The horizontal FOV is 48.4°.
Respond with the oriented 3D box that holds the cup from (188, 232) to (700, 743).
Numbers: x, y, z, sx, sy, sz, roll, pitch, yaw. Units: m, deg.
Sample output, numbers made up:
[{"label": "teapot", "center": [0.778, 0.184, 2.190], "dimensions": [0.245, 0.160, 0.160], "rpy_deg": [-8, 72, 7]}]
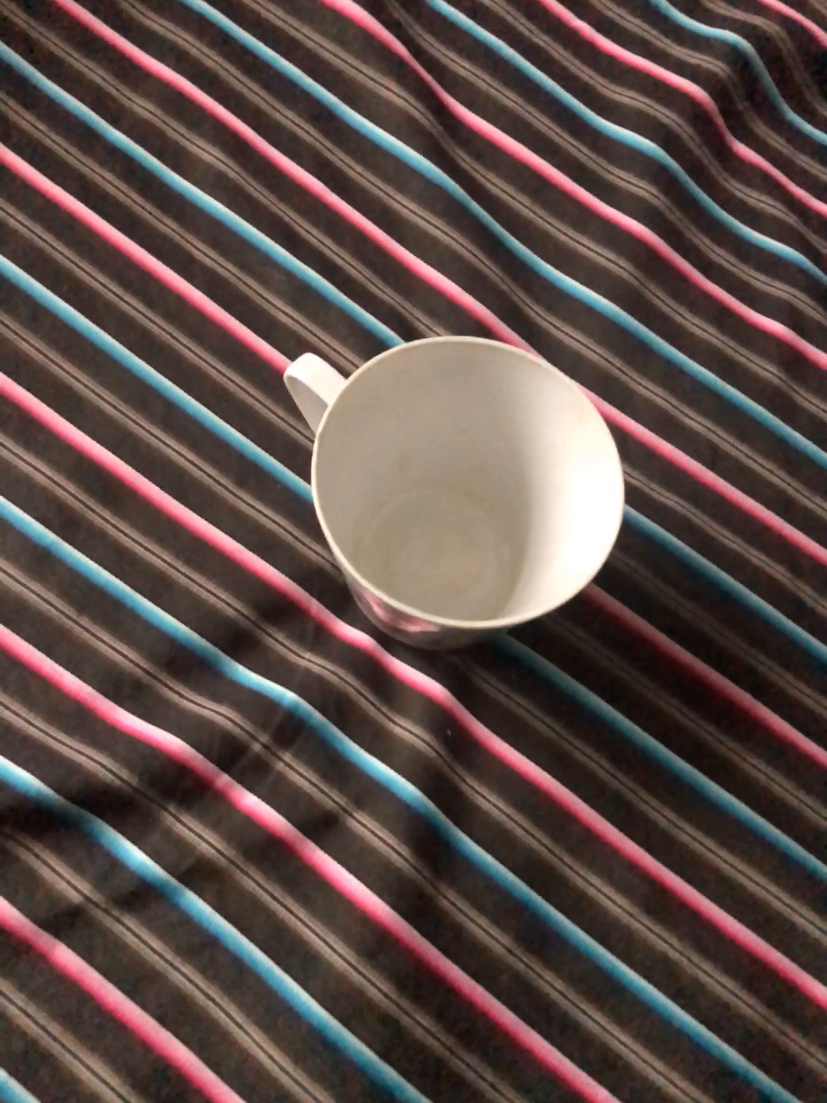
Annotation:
[{"label": "cup", "center": [0.005, -0.015, 0.232], "dimensions": [0.073, 0.049, 0.094], "rpy_deg": [-38, 78, -15]}]
